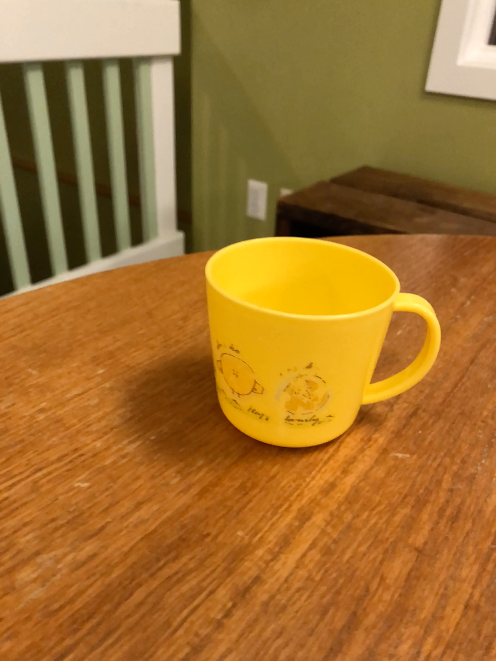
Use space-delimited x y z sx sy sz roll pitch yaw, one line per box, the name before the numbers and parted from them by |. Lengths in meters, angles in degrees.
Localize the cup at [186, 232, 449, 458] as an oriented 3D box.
cup | 0.027 0.002 0.256 0.097 0.064 0.081 5 30 3
